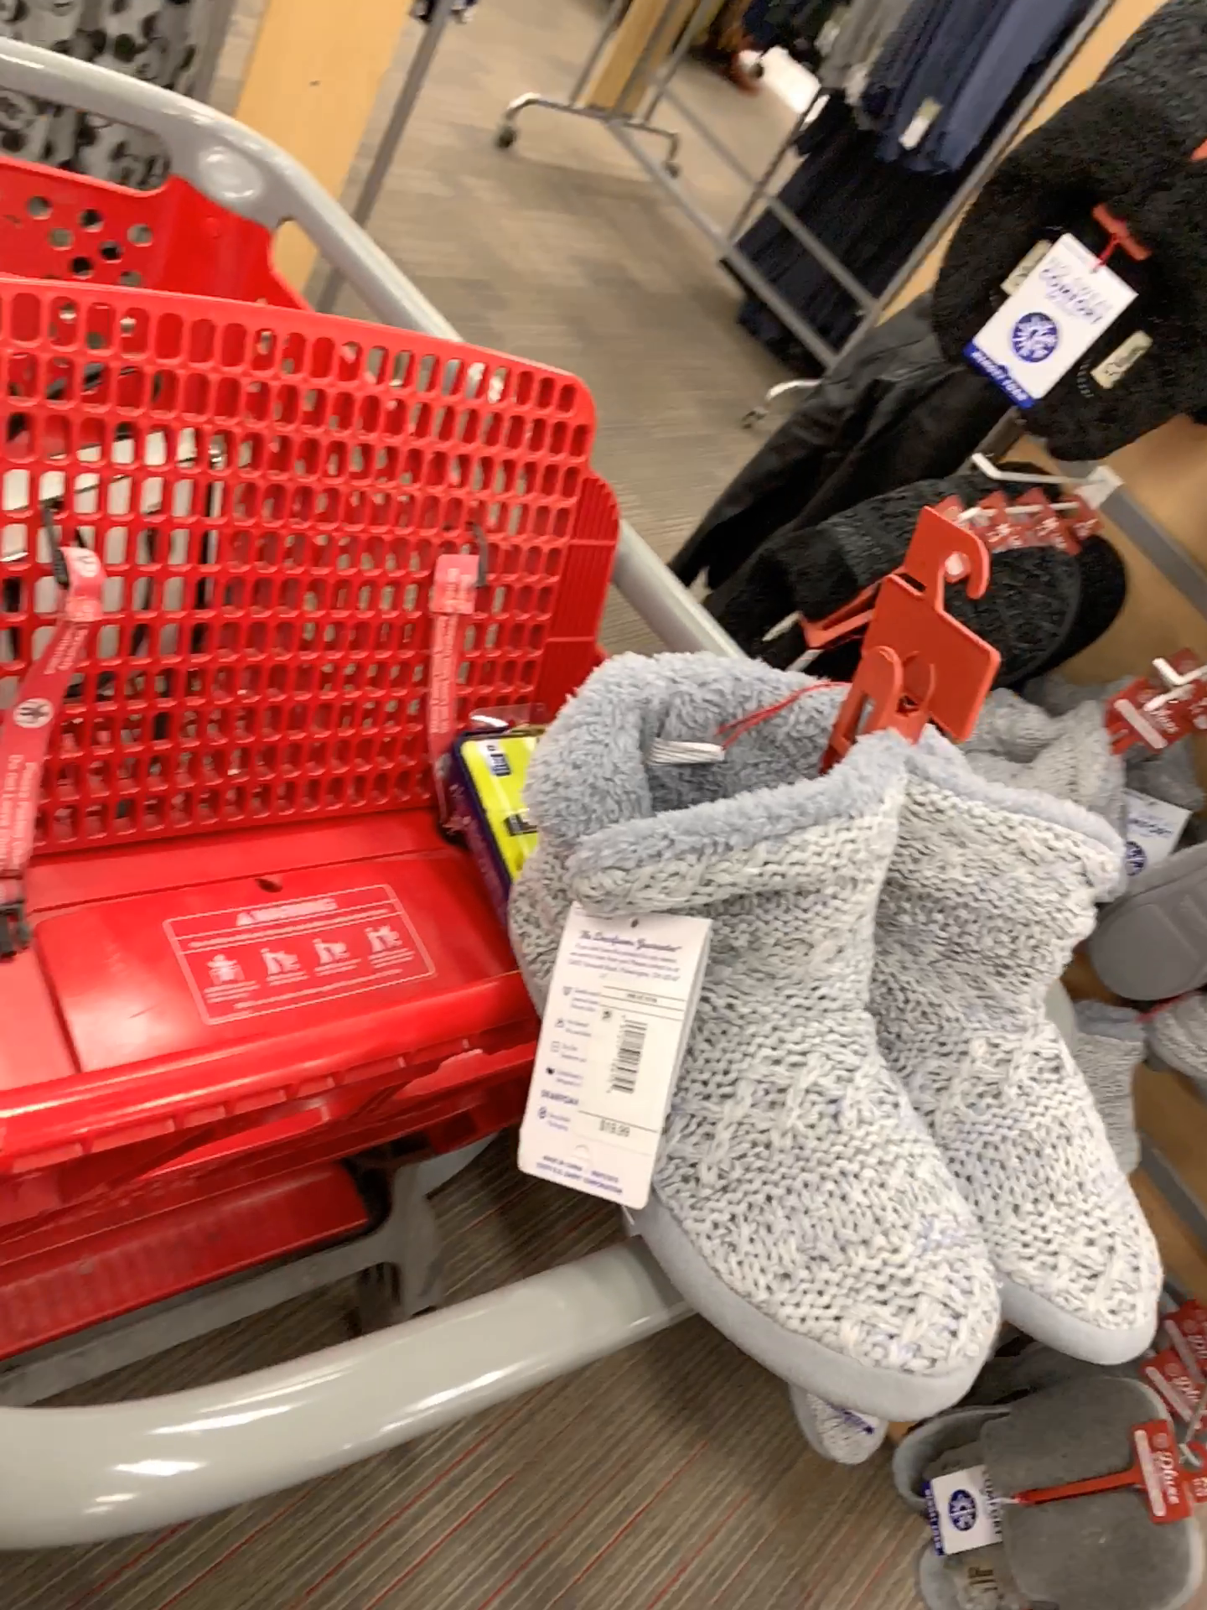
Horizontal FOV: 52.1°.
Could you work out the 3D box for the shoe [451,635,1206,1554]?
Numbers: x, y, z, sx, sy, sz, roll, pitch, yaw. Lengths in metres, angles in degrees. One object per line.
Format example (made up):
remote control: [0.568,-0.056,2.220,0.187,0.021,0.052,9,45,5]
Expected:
shoe: [0.069,0.081,0.423,0.110,0.139,0.250,-4,51,-39]

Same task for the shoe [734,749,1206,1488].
shoe: [0.177,0.105,0.477,0.110,0.119,0.230,-4,51,-39]
